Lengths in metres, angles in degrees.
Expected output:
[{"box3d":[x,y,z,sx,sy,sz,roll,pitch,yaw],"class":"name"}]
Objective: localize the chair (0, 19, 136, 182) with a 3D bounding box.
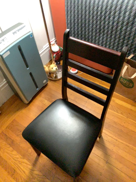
[{"box3d":[-0.012,0.178,0.823,0.491,0.866,0.551,25,59,24],"class":"chair"}]
